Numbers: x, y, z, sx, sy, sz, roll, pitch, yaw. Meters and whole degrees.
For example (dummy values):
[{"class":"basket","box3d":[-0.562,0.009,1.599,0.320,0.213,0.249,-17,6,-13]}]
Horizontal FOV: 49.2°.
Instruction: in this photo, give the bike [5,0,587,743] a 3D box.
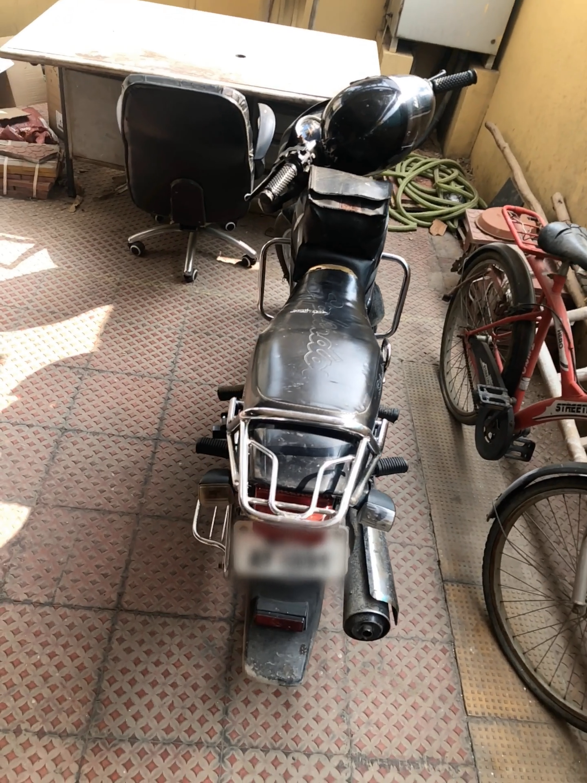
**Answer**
[{"class":"bike","box3d":[-0.080,-0.214,1.659,0.713,1.027,1.624,7,42,-7]}]
